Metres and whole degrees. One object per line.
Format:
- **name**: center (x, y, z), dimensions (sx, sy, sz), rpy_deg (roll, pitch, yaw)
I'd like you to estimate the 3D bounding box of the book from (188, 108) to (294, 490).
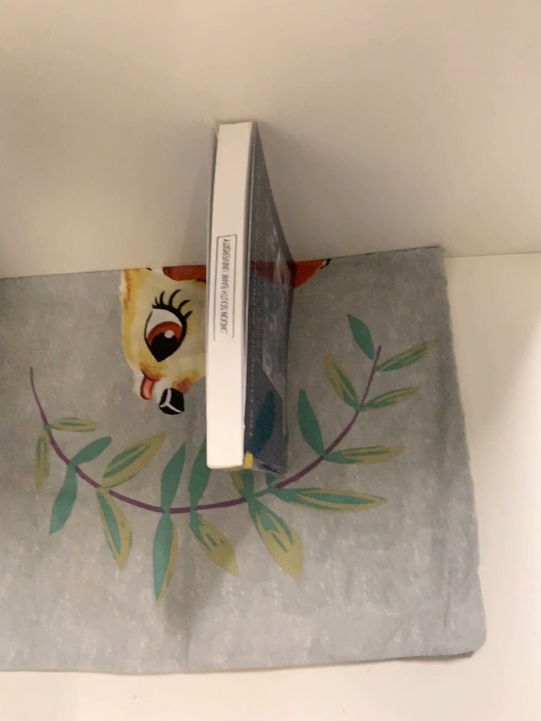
- **book**: center (-0.009, -0.016, 0.421), dimensions (0.030, 0.239, 0.221), rpy_deg (-1, 76, 8)
